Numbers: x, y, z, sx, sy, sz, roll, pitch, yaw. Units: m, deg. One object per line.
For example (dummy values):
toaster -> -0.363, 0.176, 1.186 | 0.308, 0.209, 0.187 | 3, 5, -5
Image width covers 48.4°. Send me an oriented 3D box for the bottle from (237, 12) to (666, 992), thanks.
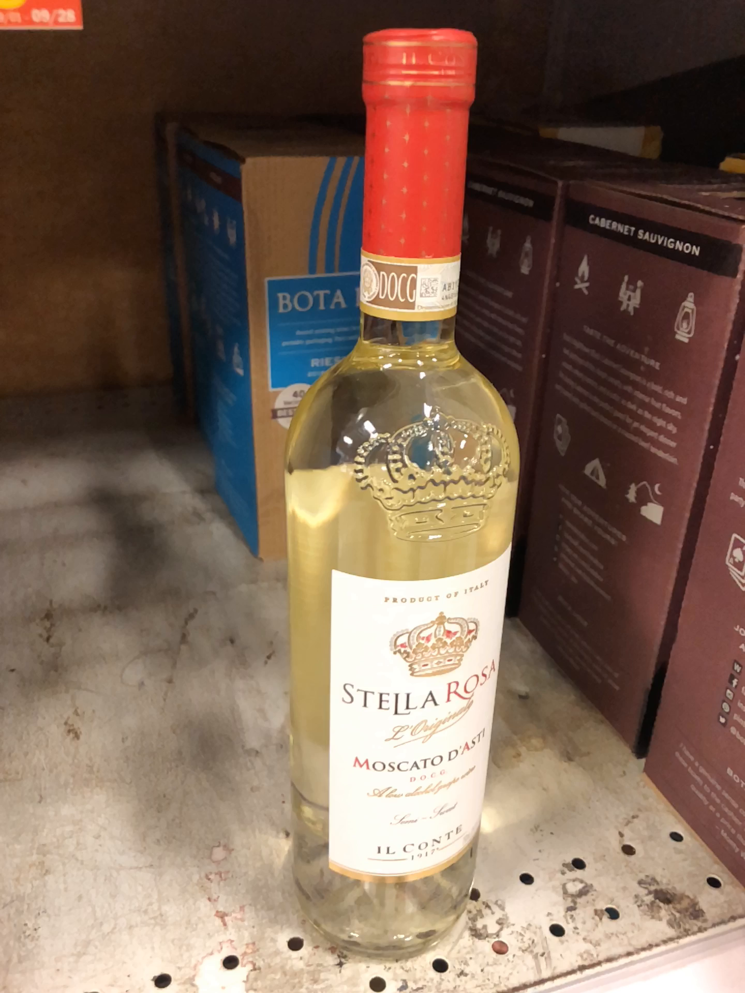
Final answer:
bottle -> 0.010, 0.026, 0.276 | 0.080, 0.319, 0.070 | -10, 30, -21
